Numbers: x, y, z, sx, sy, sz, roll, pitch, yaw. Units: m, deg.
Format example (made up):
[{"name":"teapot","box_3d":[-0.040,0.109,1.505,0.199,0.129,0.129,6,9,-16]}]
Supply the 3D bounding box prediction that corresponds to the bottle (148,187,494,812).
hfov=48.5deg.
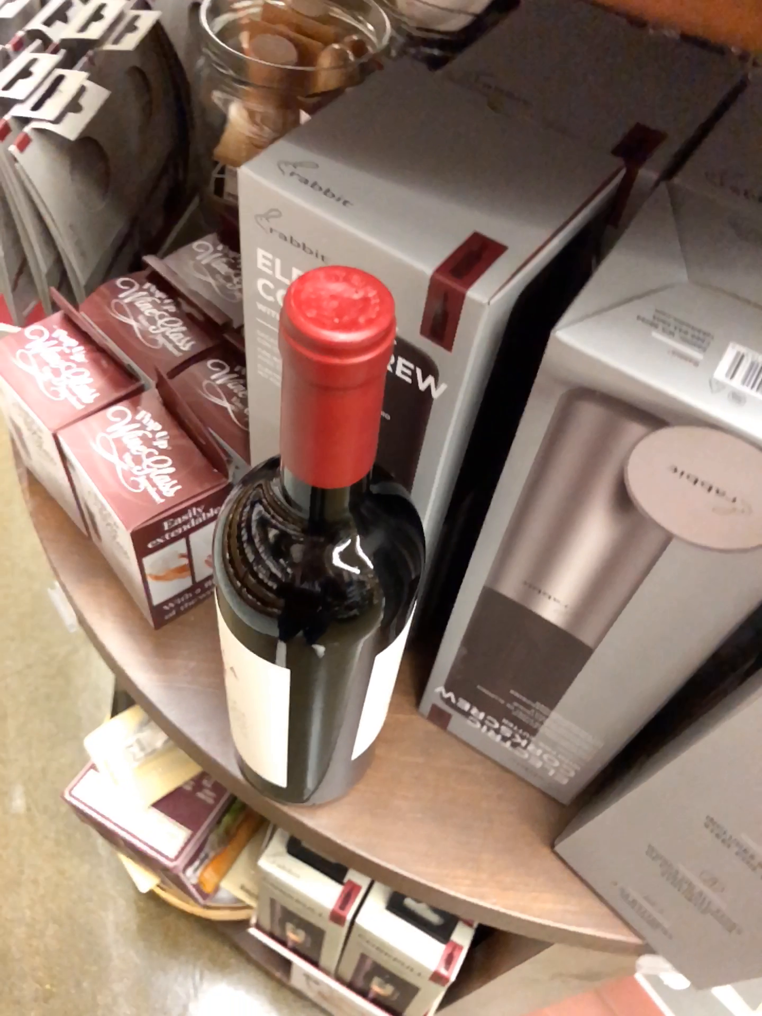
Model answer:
[{"name":"bottle","box_3d":[-0.026,0.031,0.315,0.072,0.285,0.076,3,54,-4]}]
